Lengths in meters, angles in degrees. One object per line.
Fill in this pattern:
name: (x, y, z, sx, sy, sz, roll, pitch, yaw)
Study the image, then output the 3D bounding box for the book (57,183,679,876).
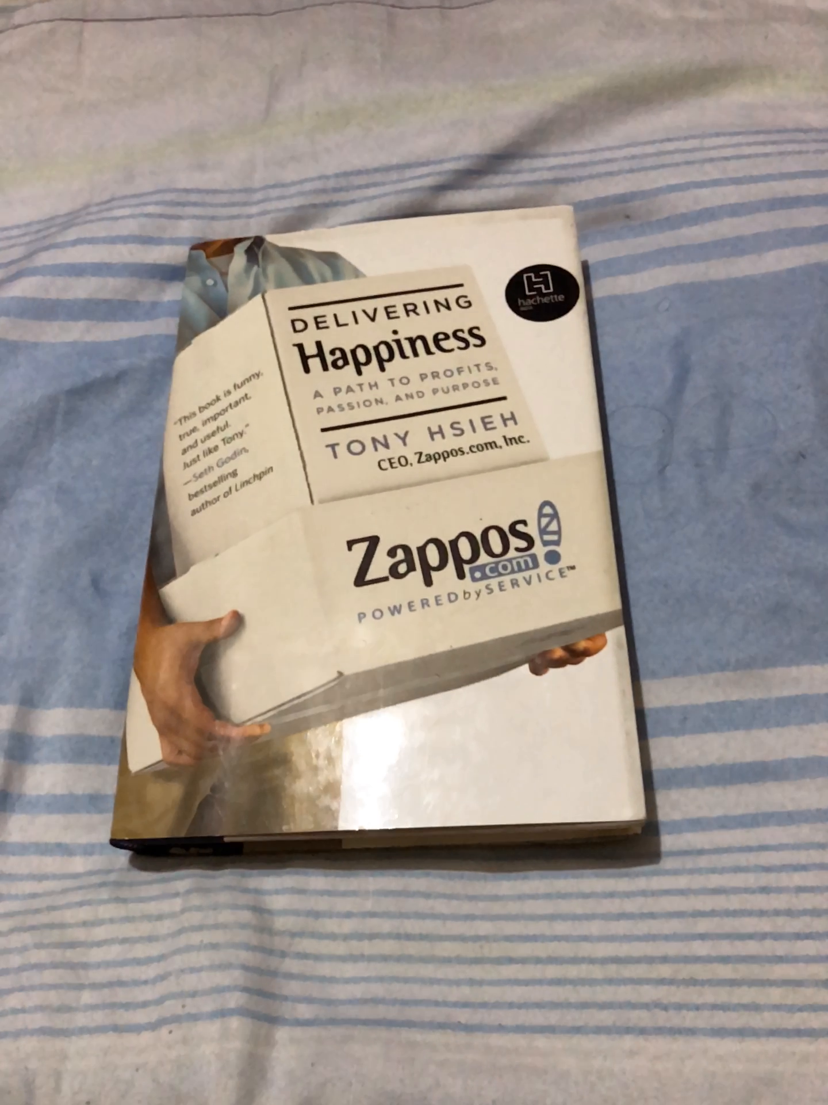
book: (-0.013, -0.017, 0.328, 0.170, 0.050, 0.240, -4, 62, 6)
